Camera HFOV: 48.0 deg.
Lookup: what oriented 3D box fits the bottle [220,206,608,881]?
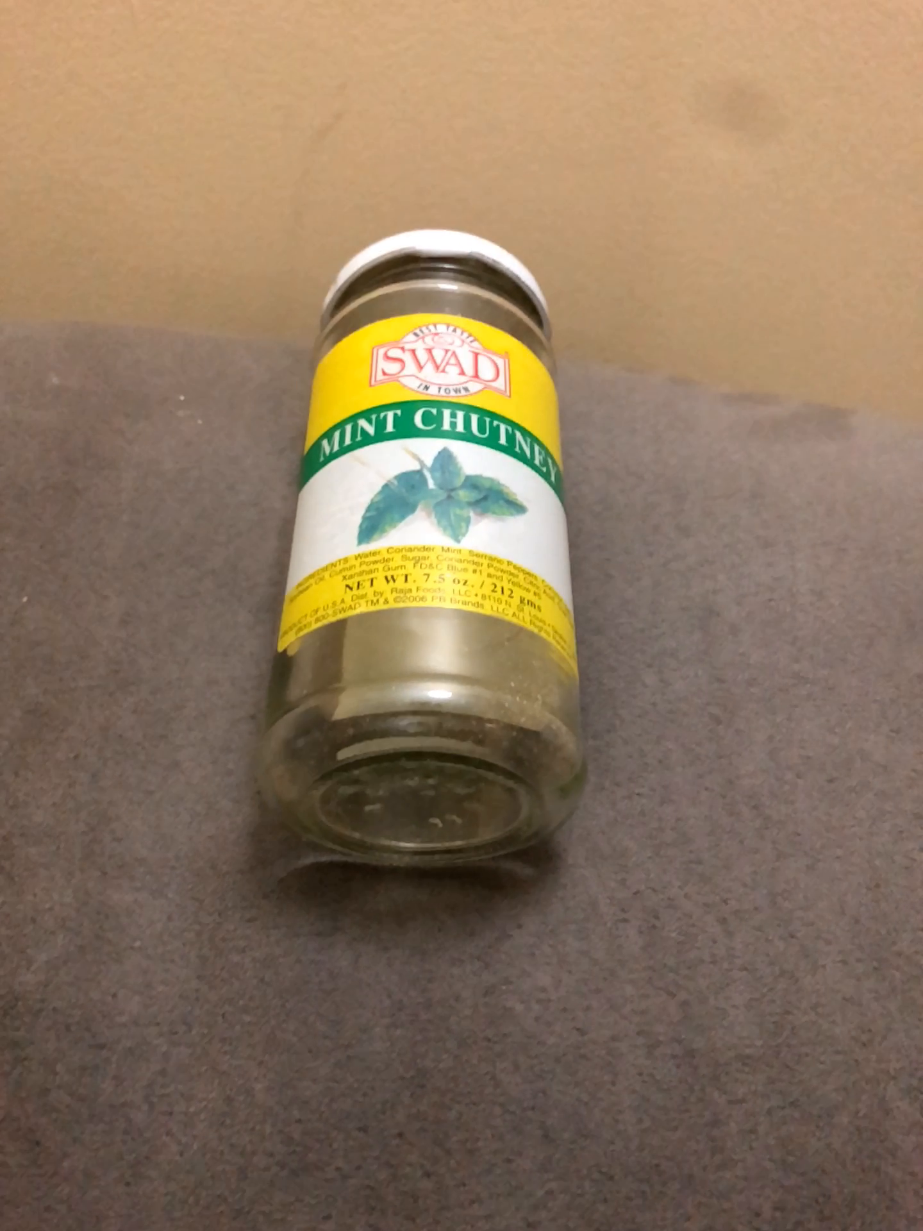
[{"bbox_3d":[-0.007,-0.020,0.213,0.056,0.056,0.133,0,54,0],"label":"bottle"}]
